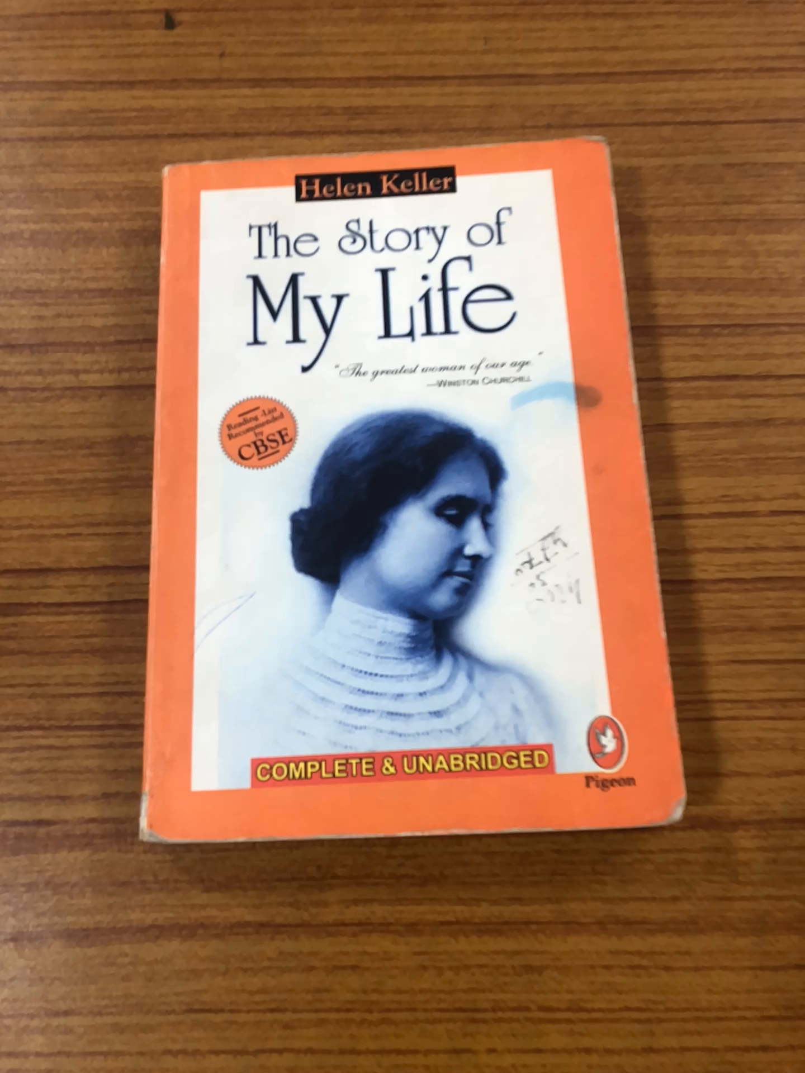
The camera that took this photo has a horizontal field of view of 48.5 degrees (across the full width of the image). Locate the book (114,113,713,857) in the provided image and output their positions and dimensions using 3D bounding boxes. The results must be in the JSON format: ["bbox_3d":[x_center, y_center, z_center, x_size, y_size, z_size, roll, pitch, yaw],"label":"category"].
[{"bbox_3d":[-0.001,-0.017,0.216,0.120,0.030,0.170,-3,75,1],"label":"book"}]
